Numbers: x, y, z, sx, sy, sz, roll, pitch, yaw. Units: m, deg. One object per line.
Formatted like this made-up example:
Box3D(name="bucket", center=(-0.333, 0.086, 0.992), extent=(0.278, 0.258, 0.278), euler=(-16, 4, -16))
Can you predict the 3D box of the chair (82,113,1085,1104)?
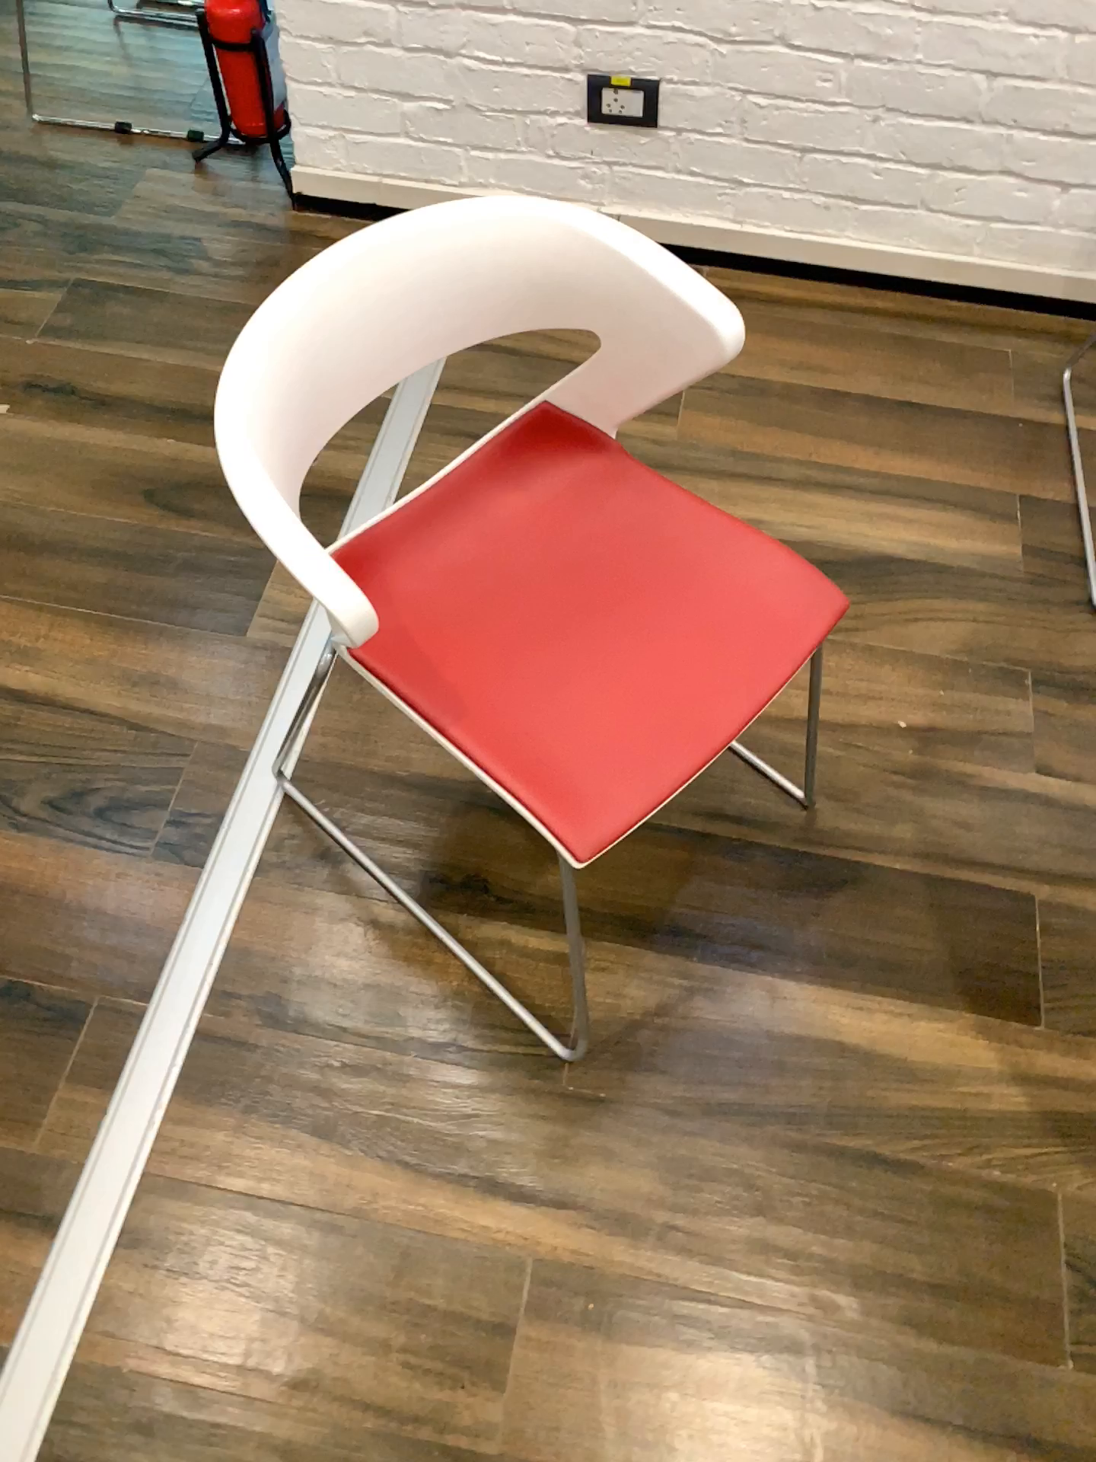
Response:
Box3D(name="chair", center=(0.021, -0.116, 1.251), extent=(0.642, 0.676, 0.592), euler=(40, 64, 20))
